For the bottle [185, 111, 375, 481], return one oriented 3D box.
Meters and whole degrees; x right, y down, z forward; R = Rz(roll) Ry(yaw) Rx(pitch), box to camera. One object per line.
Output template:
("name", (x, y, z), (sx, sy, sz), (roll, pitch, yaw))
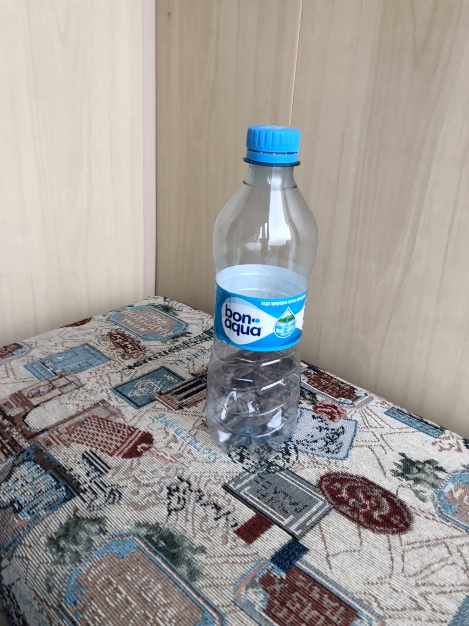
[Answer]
("bottle", (0.024, -0.013, 0.326), (0.080, 0.209, 0.070), (15, 24, 26))
